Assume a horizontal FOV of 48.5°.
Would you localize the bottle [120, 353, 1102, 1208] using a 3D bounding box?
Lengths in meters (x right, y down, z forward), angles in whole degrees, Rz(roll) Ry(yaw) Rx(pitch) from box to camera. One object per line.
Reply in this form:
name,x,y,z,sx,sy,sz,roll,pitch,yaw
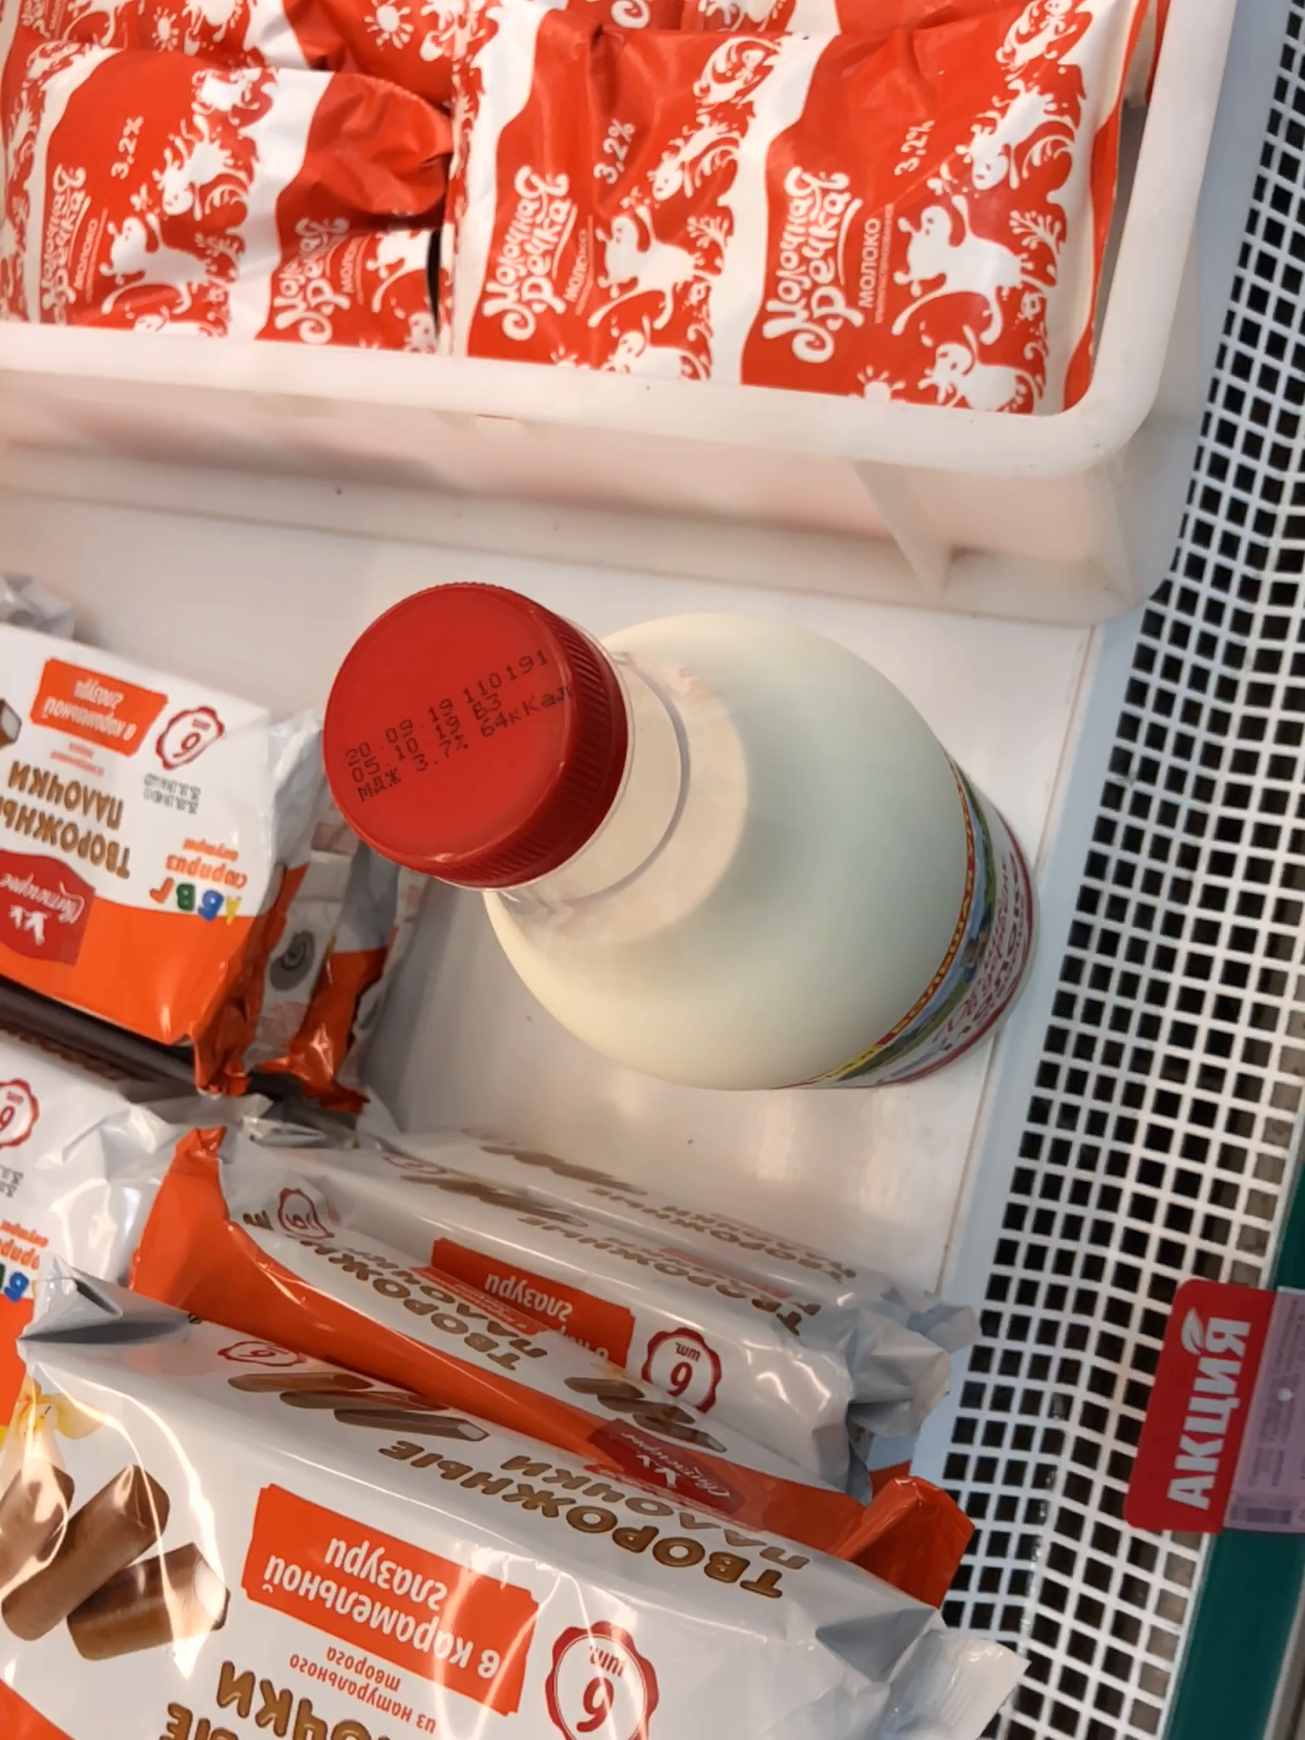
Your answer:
bottle,0.024,-0.002,0.314,0.100,0.250,0.100,-3,81,21
